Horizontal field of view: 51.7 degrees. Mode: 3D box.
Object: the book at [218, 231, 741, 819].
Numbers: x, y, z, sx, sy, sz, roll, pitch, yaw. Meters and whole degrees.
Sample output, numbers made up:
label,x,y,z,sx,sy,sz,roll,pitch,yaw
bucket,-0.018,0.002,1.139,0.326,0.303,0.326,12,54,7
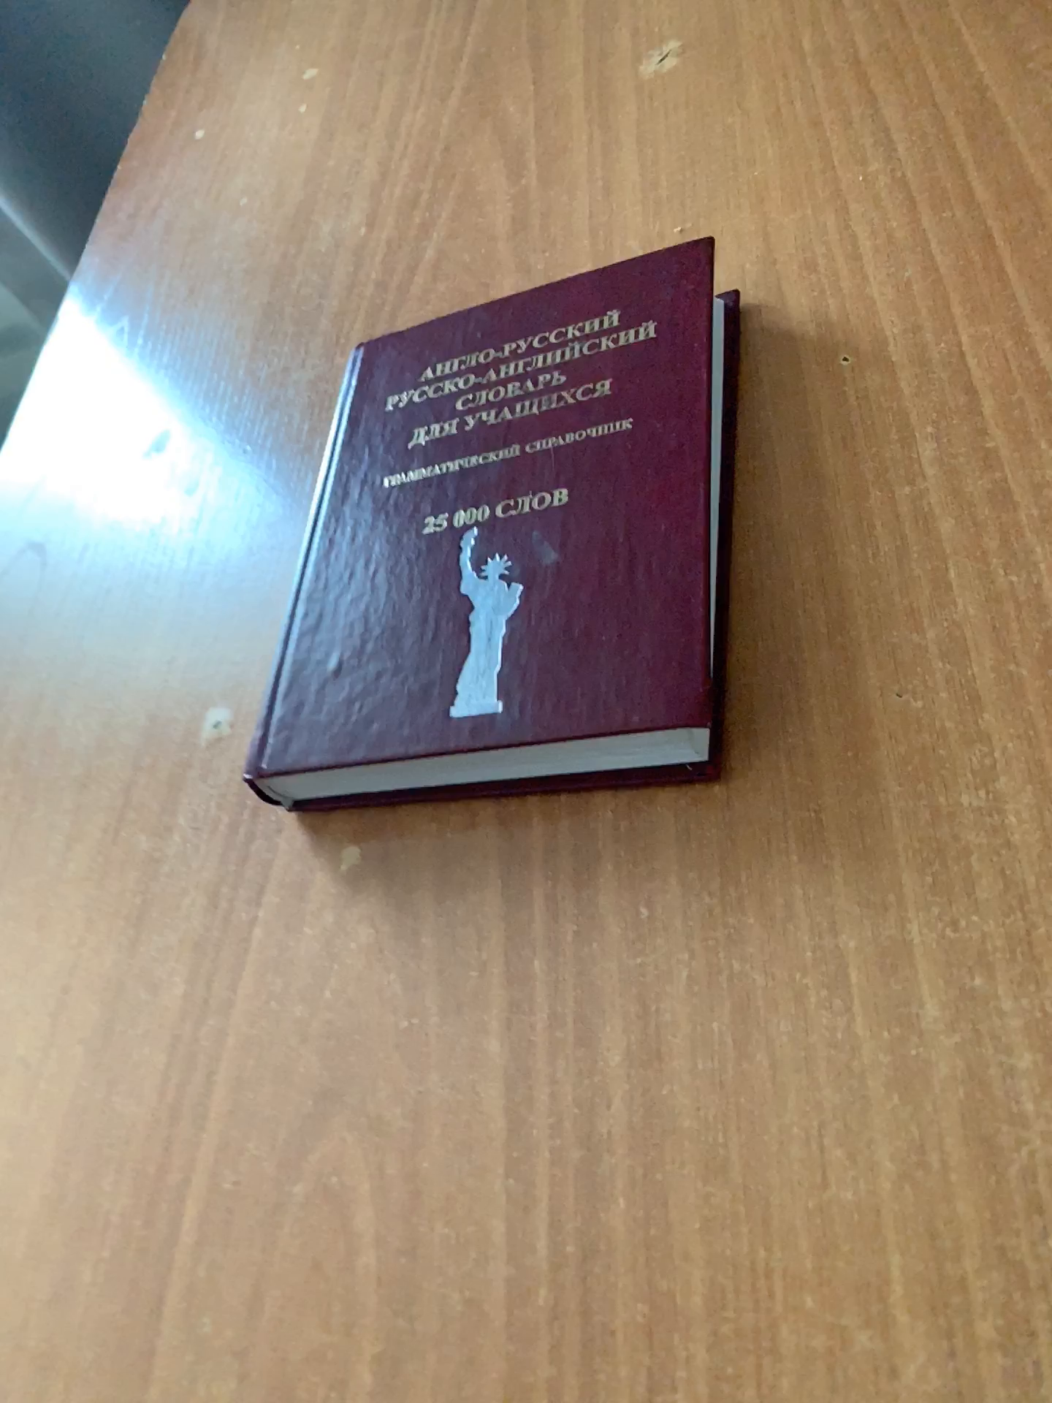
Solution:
label,x,y,z,sx,sy,sz,roll,pitch,yaw
book,-0.008,-0.052,0.313,0.135,0.023,0.166,-8,58,24
